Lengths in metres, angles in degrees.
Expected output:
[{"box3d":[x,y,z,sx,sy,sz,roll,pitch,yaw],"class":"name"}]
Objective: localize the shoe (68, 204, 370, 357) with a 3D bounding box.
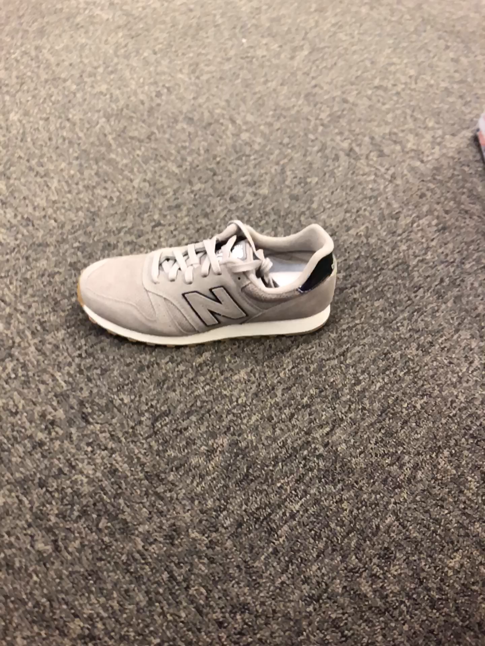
[{"box3d":[-0.023,-0.043,0.535,0.260,0.109,0.101,-1,49,-6],"class":"shoe"}]
